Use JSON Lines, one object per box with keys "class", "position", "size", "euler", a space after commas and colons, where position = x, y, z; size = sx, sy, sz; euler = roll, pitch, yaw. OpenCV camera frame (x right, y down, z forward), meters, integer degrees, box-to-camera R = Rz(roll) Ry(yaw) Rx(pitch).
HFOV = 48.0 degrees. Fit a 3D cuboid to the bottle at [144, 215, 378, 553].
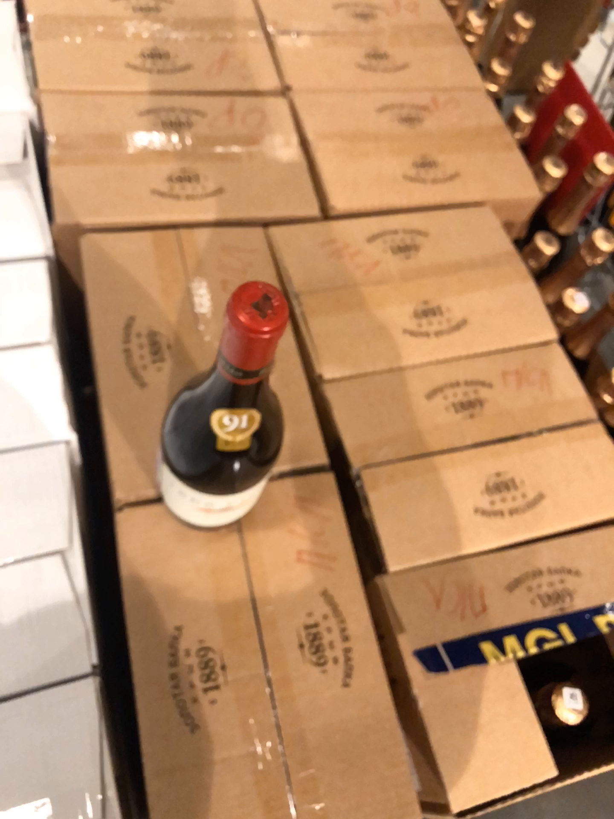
{"class": "bottle", "position": [-0.051, 0.004, 0.456], "size": [0.100, 0.269, 0.100], "euler": [6, 62, -11]}
